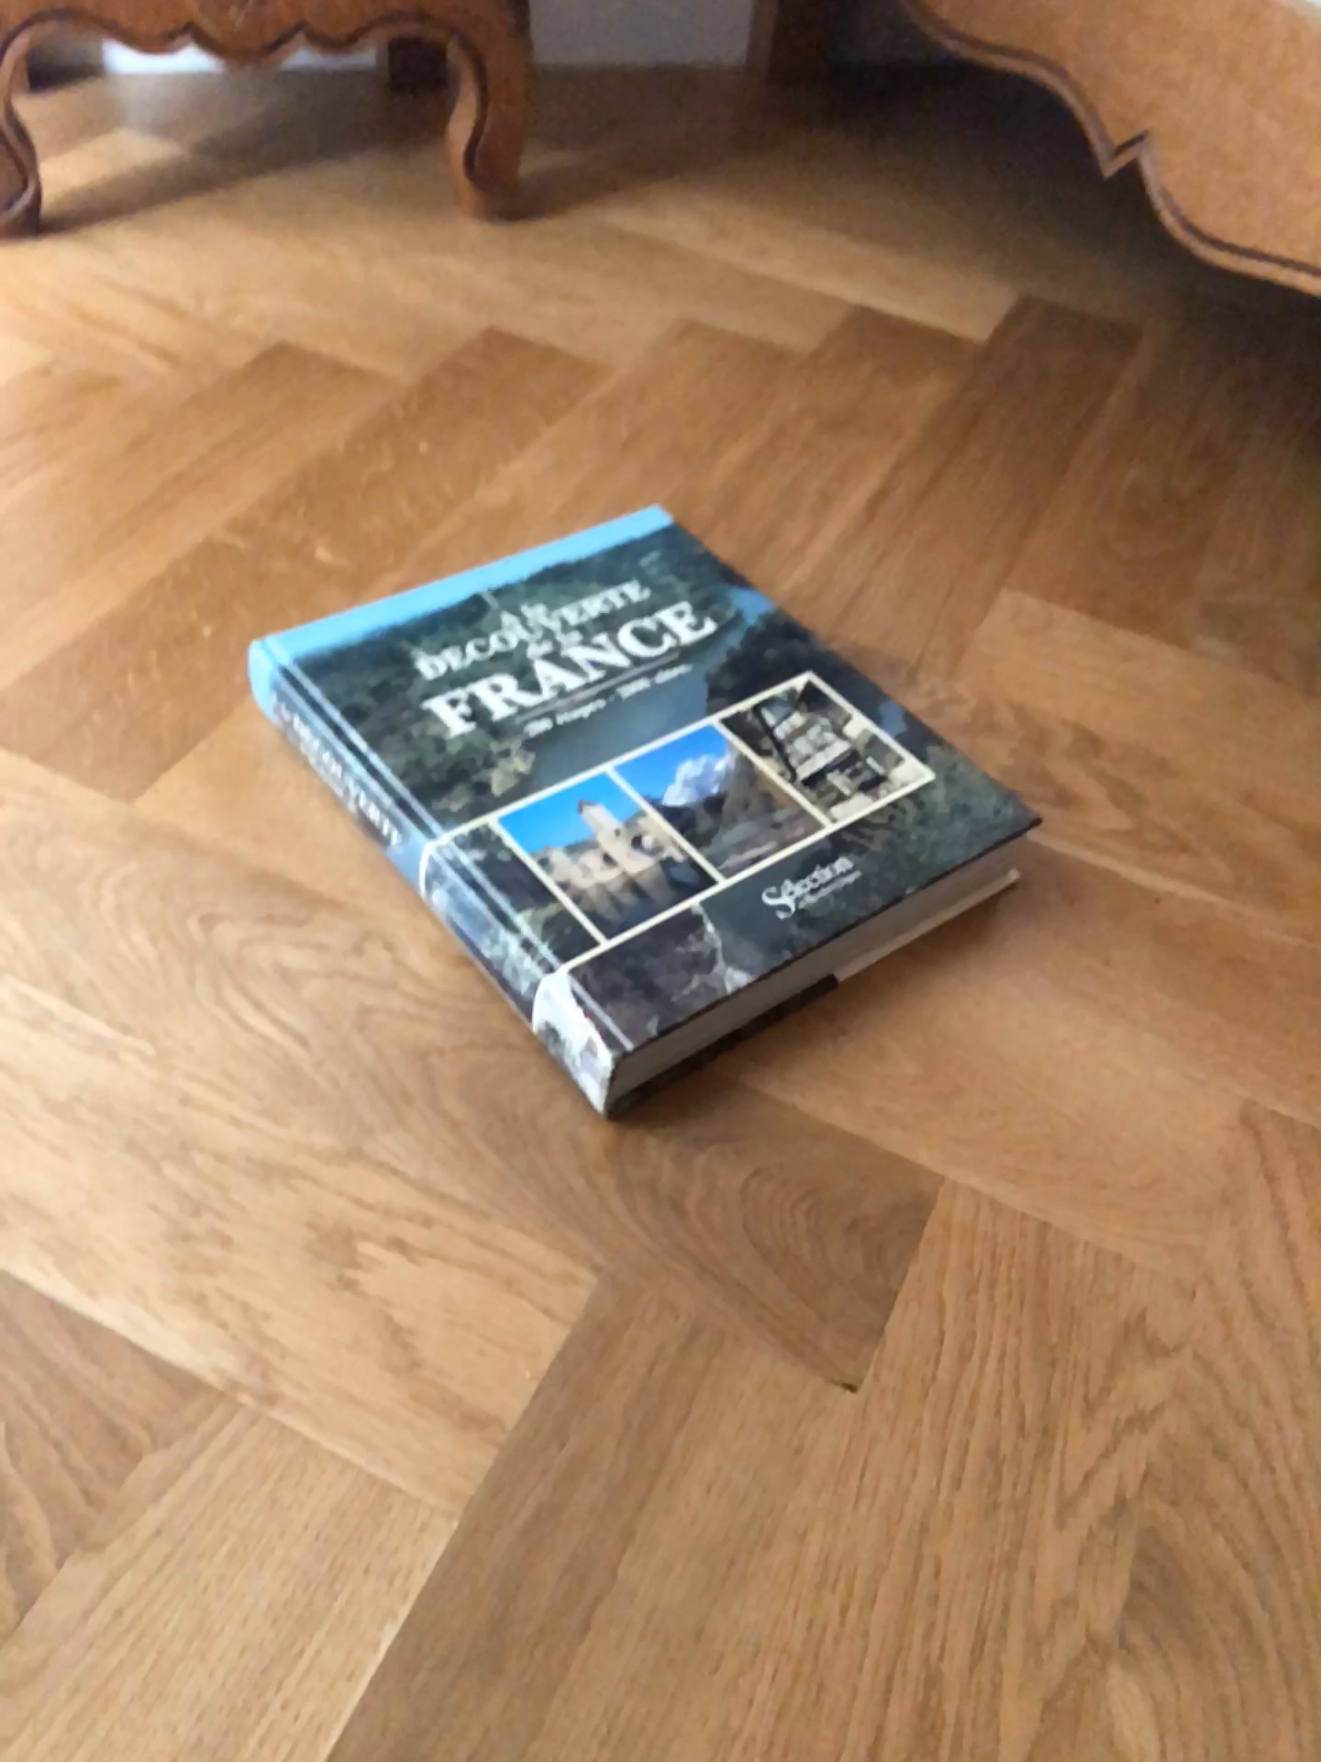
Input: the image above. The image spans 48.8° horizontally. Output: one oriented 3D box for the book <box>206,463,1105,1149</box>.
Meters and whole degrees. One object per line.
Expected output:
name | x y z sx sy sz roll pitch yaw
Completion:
book | -0.008 -0.060 0.619 0.251 0.040 0.290 -26 55 -29
